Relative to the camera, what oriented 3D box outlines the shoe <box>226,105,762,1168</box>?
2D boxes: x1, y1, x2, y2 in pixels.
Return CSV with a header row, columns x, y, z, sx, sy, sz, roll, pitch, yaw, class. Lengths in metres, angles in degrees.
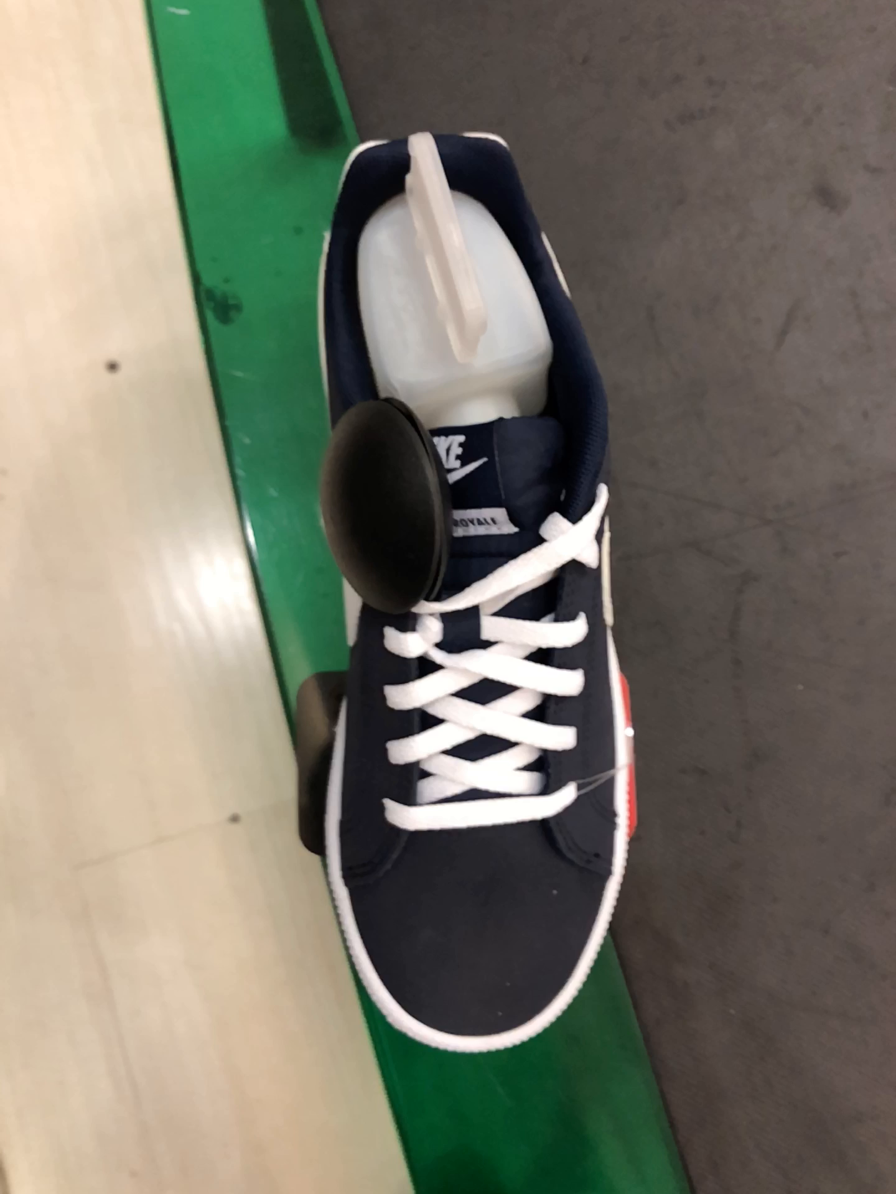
x,y,z,sx,sy,sz,roll,pitch,yaw,class
0.007,0.006,0.287,0.110,0.090,0.250,-4,84,-2,shoe
